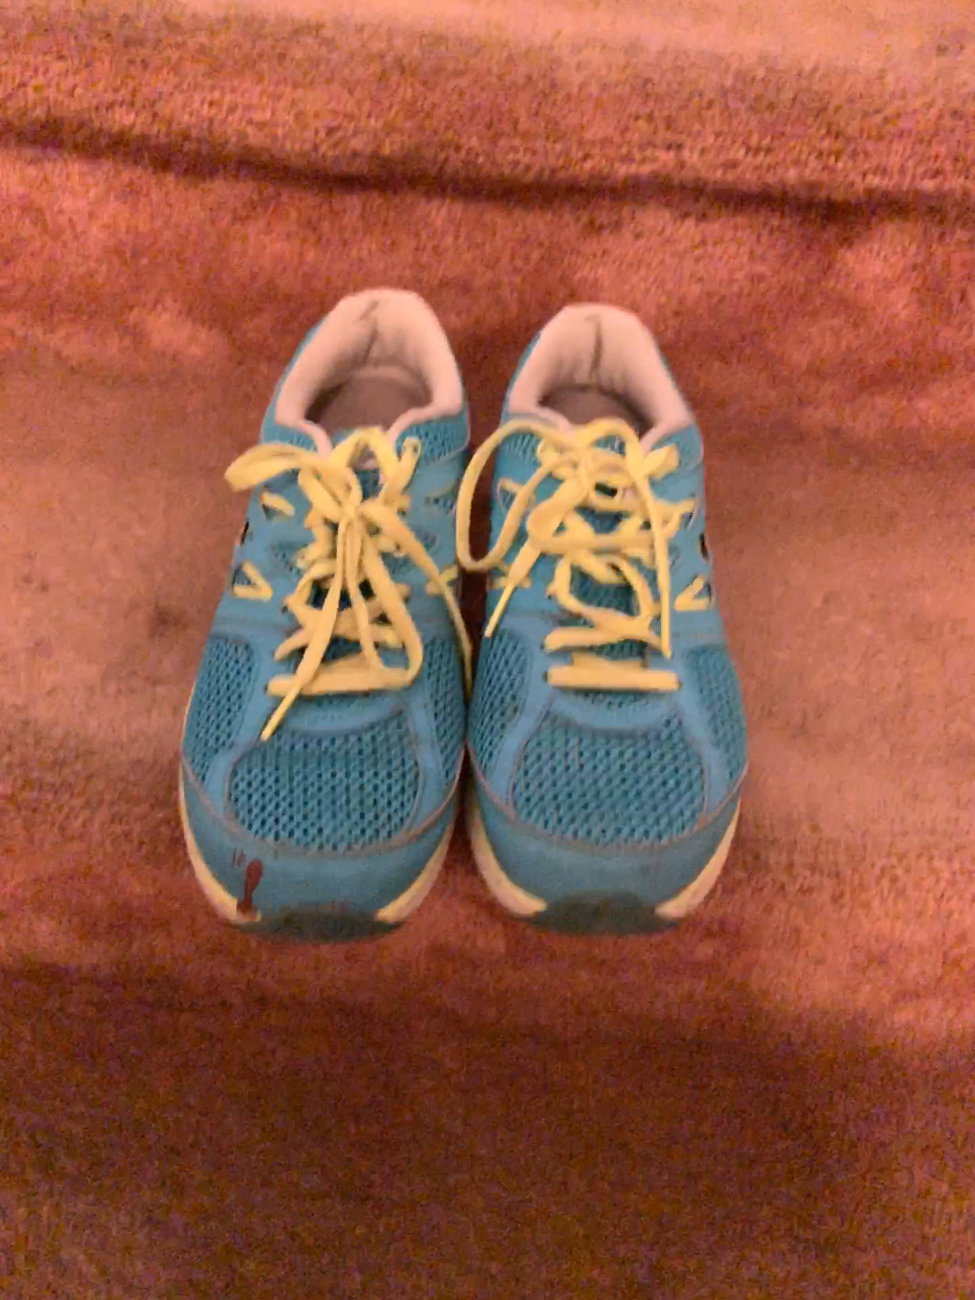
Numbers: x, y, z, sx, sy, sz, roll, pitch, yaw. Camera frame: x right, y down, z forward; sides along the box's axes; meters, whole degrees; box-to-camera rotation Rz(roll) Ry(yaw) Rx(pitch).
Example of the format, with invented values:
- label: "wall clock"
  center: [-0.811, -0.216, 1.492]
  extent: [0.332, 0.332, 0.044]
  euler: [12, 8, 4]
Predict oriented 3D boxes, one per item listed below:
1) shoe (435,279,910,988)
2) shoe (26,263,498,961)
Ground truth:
- label: "shoe"
  center: [0.051, -0.033, 0.380]
  extent: [0.110, 0.099, 0.283]
  euler: [5, 41, 0]
- label: "shoe"
  center: [-0.055, -0.039, 0.378]
  extent: [0.110, 0.099, 0.283]
  euler: [3, 41, -2]
